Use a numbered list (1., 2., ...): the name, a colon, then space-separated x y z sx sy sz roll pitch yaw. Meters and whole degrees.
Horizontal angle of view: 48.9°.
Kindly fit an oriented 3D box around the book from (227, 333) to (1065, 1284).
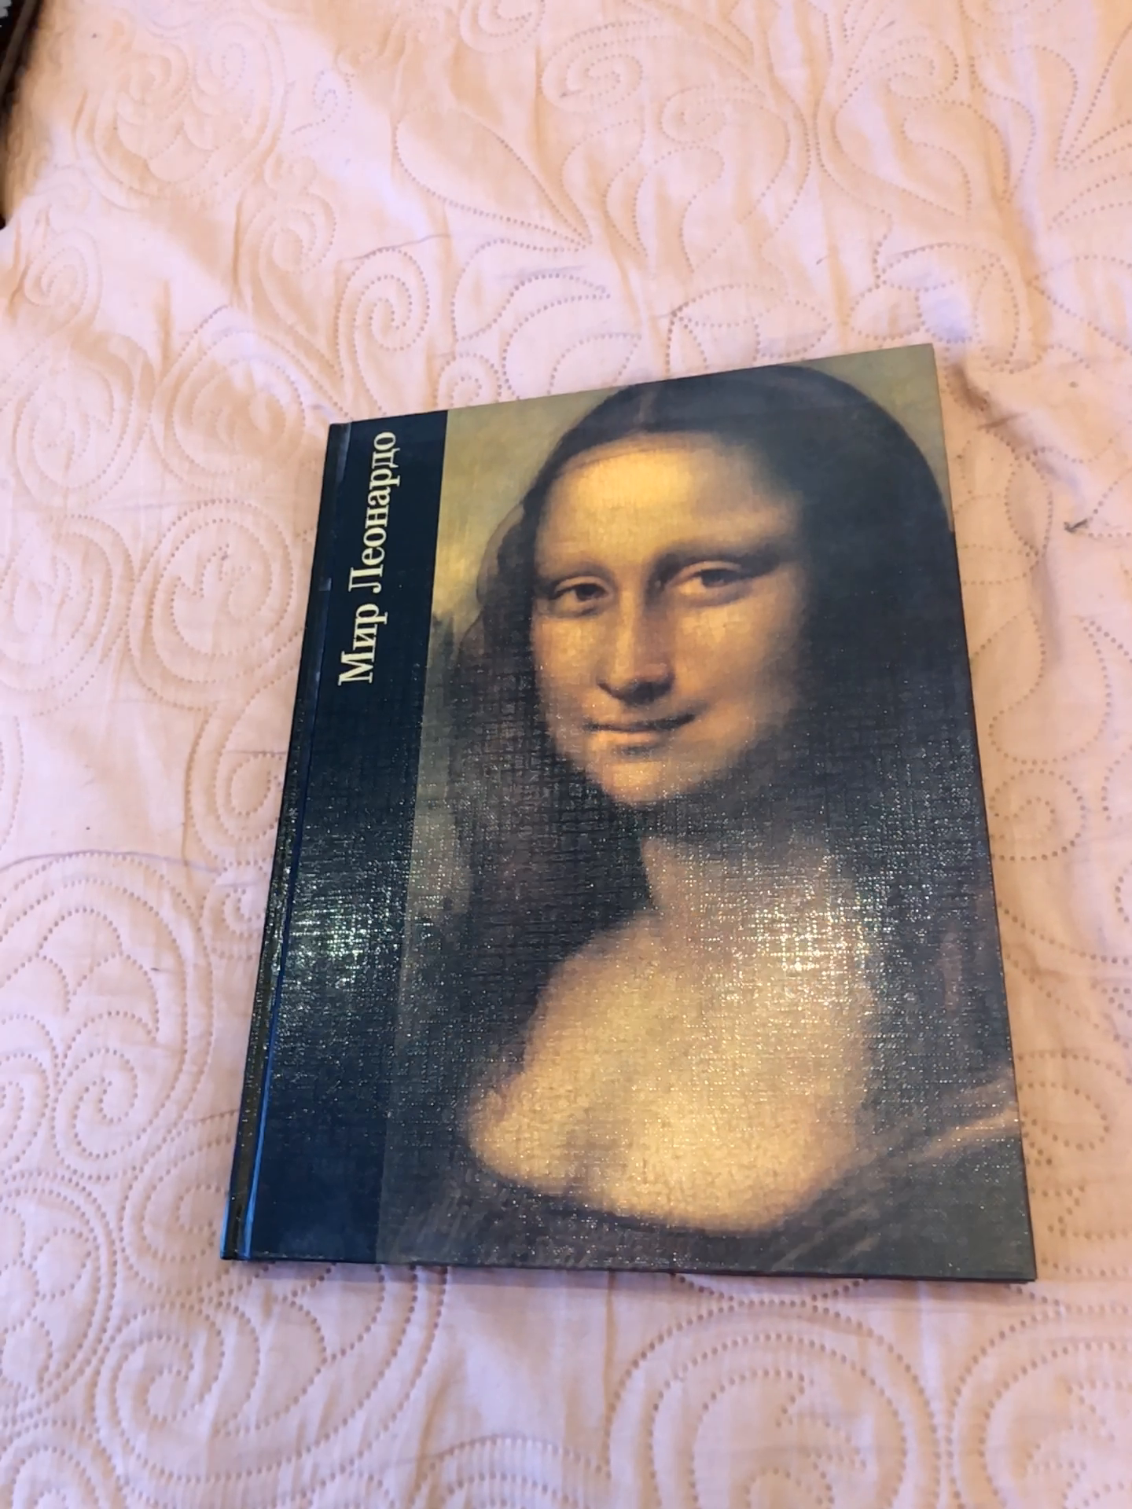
1. book: 0.017 0.008 0.373 0.210 0.030 0.273 -4 68 12
